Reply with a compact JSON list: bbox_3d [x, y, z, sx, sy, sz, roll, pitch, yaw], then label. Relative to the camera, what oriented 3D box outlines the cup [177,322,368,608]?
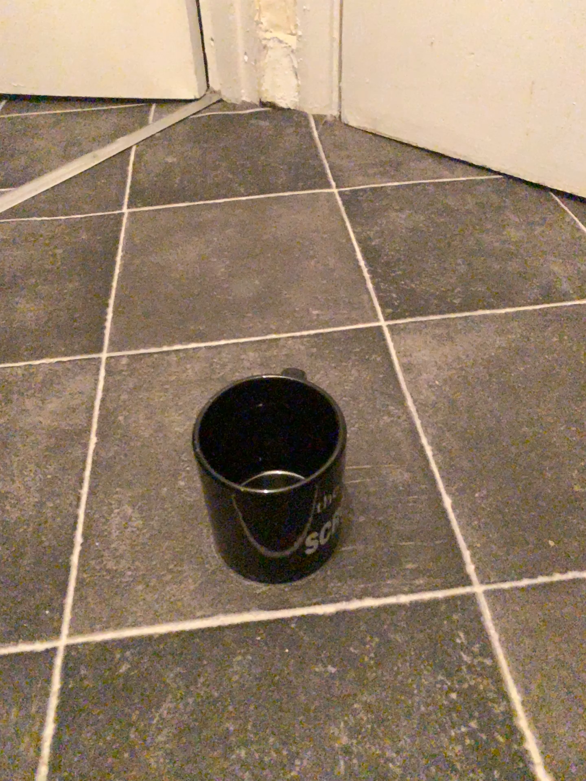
[{"bbox_3d":[-0.004,0.044,0.363,0.080,0.115,0.118,6,46,9],"label":"cup"}]
